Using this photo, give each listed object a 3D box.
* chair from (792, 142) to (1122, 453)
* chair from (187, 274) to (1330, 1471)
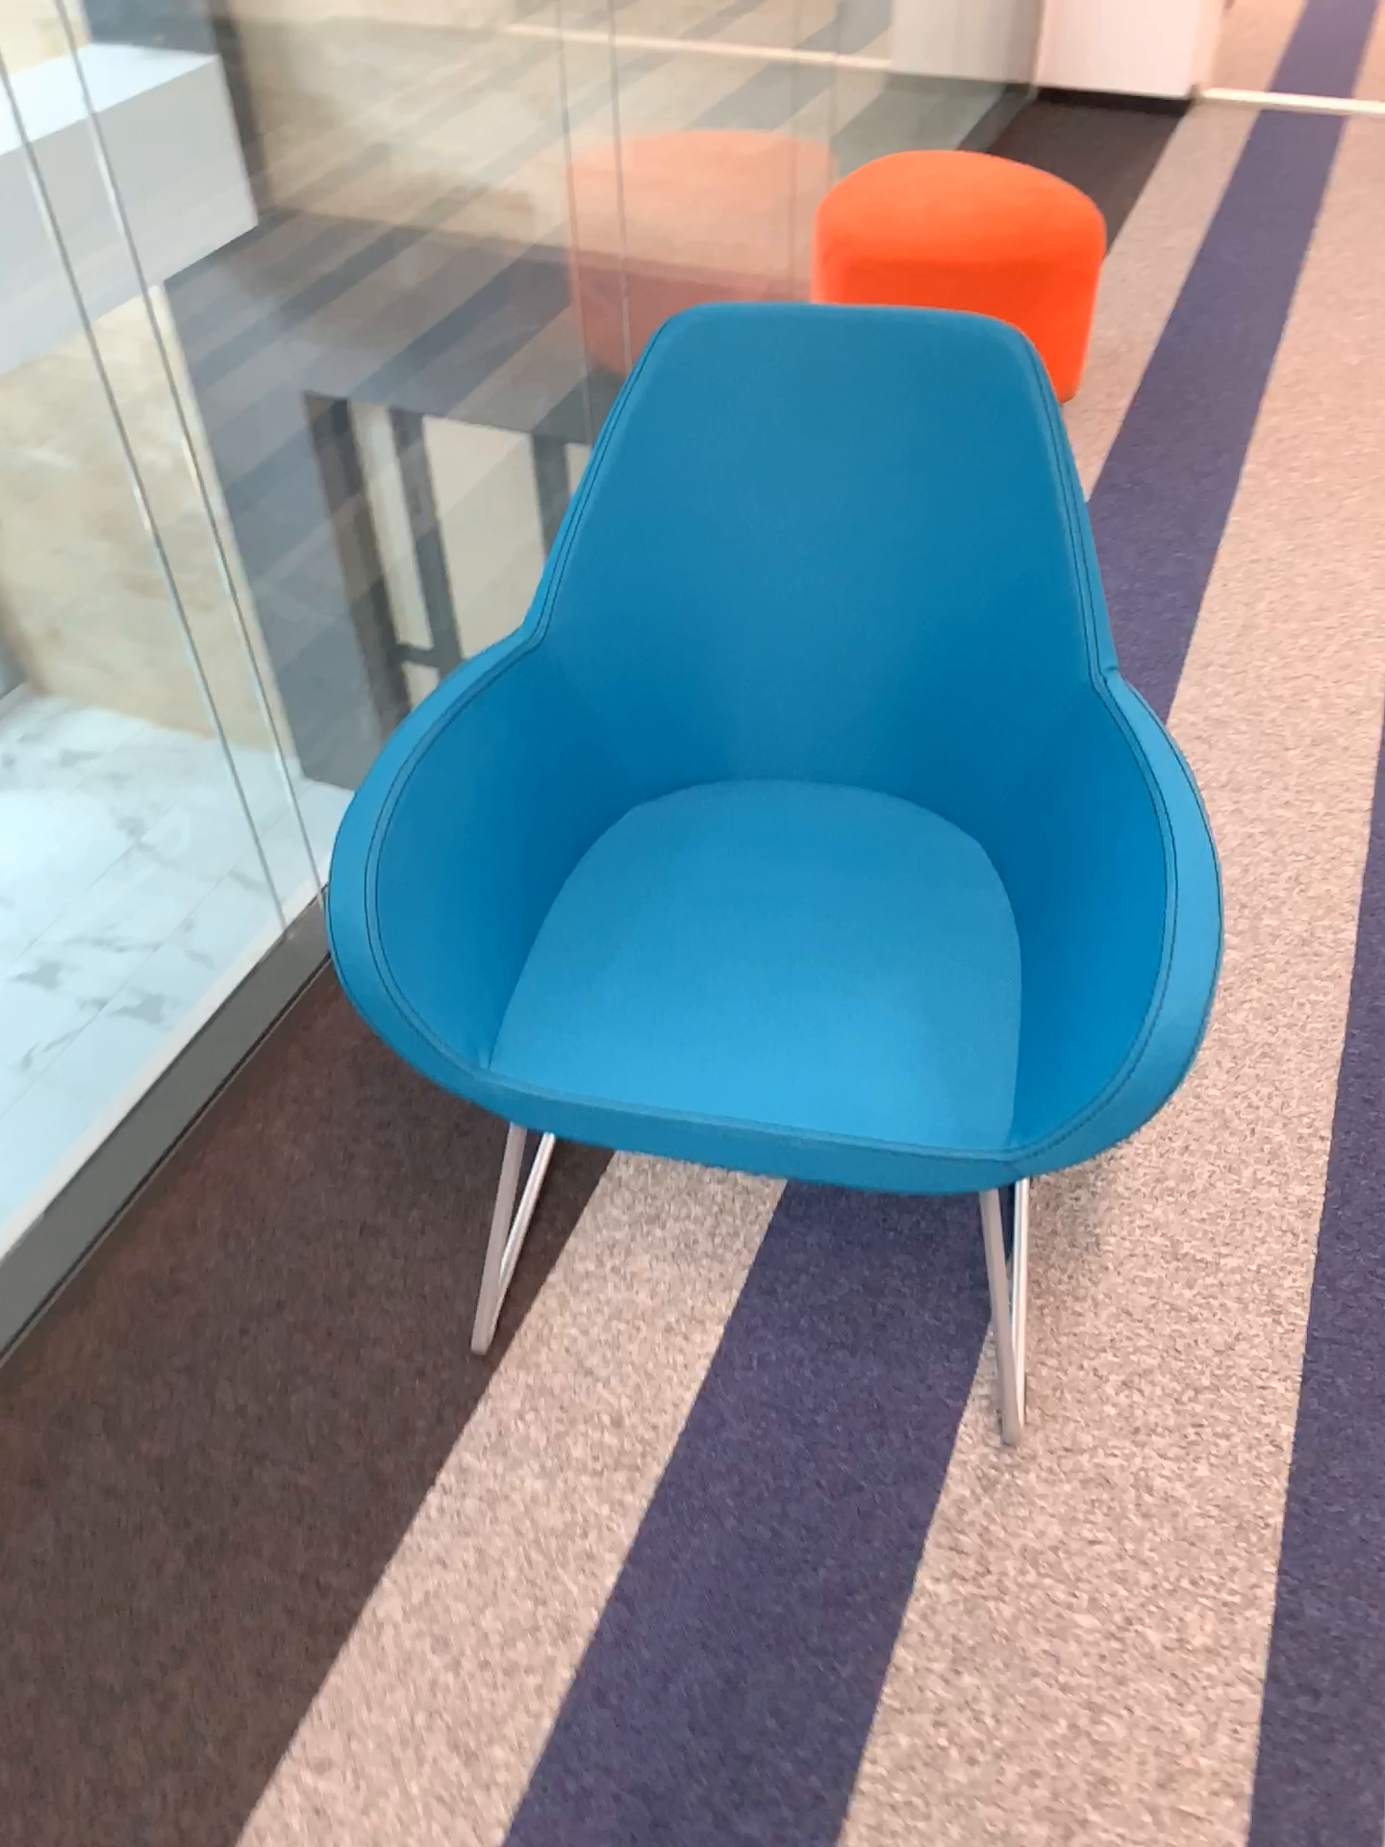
[{"bbox_3d":[0.595,-1.414,3.152,0.639,0.396,0.653,8,46,10],"label":"chair"},{"bbox_3d":[0.096,-0.042,1.335,0.671,0.836,0.653,8,46,10],"label":"chair"}]
